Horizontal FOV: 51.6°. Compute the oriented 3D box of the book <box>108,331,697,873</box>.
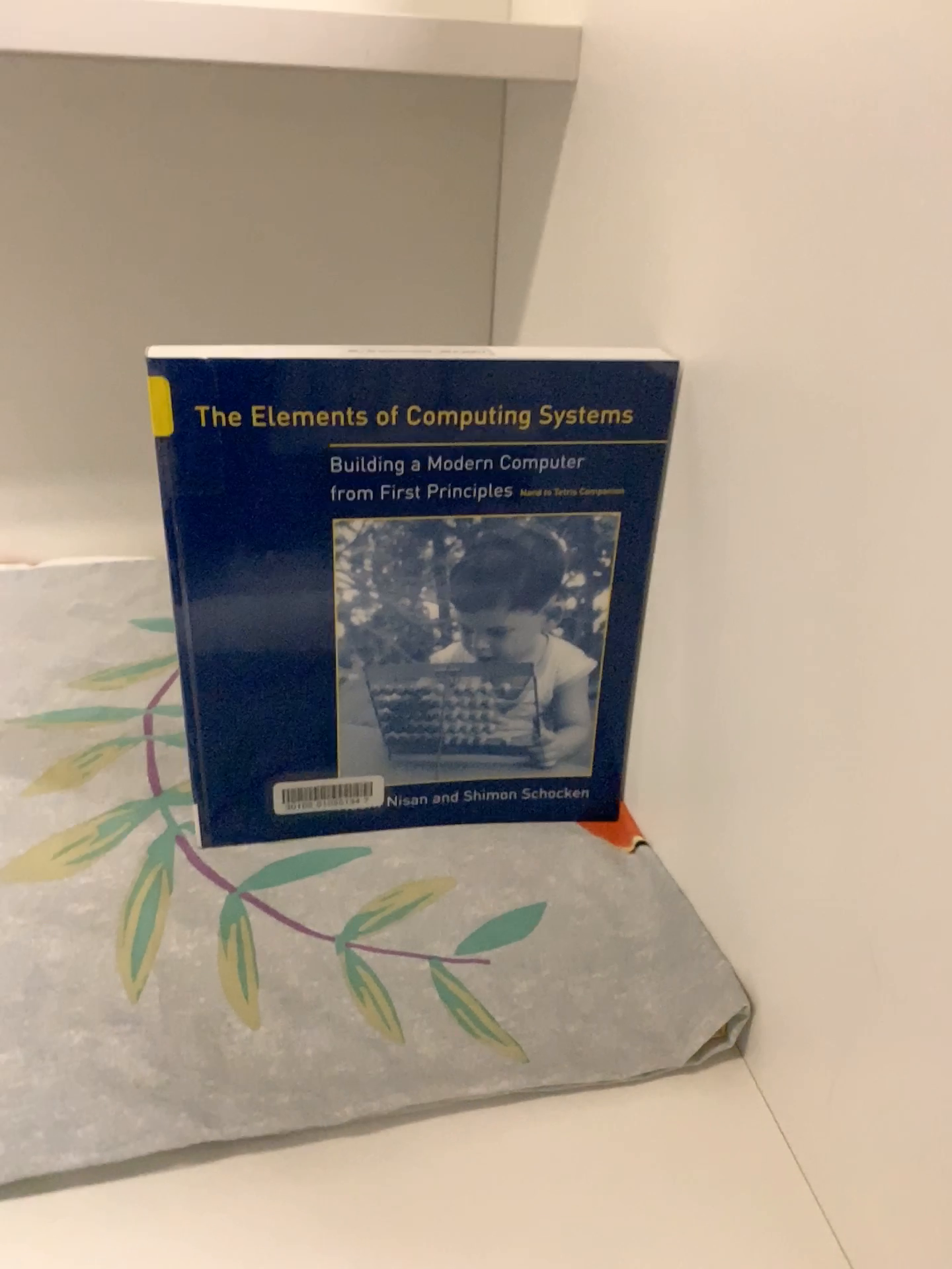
[{"bbox_3d":[-0.030,-0.007,0.434,0.220,0.238,0.030,-3,28,-11],"label":"book"}]
